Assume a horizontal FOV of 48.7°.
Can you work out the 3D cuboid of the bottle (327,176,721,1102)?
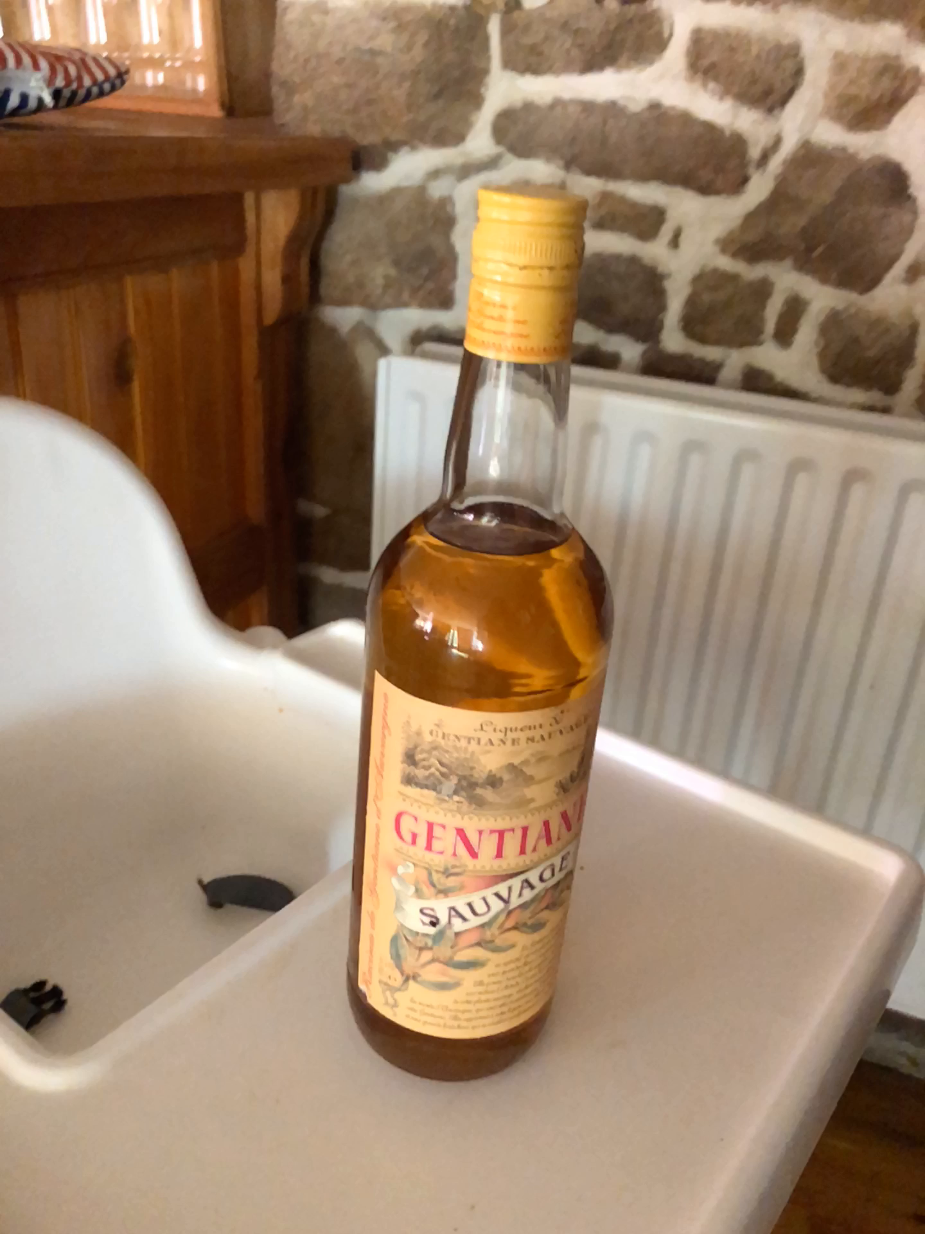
[{"bbox_3d":[0.003,0.019,0.344,0.090,0.298,0.080,-2,26,-12],"label":"bottle"}]
